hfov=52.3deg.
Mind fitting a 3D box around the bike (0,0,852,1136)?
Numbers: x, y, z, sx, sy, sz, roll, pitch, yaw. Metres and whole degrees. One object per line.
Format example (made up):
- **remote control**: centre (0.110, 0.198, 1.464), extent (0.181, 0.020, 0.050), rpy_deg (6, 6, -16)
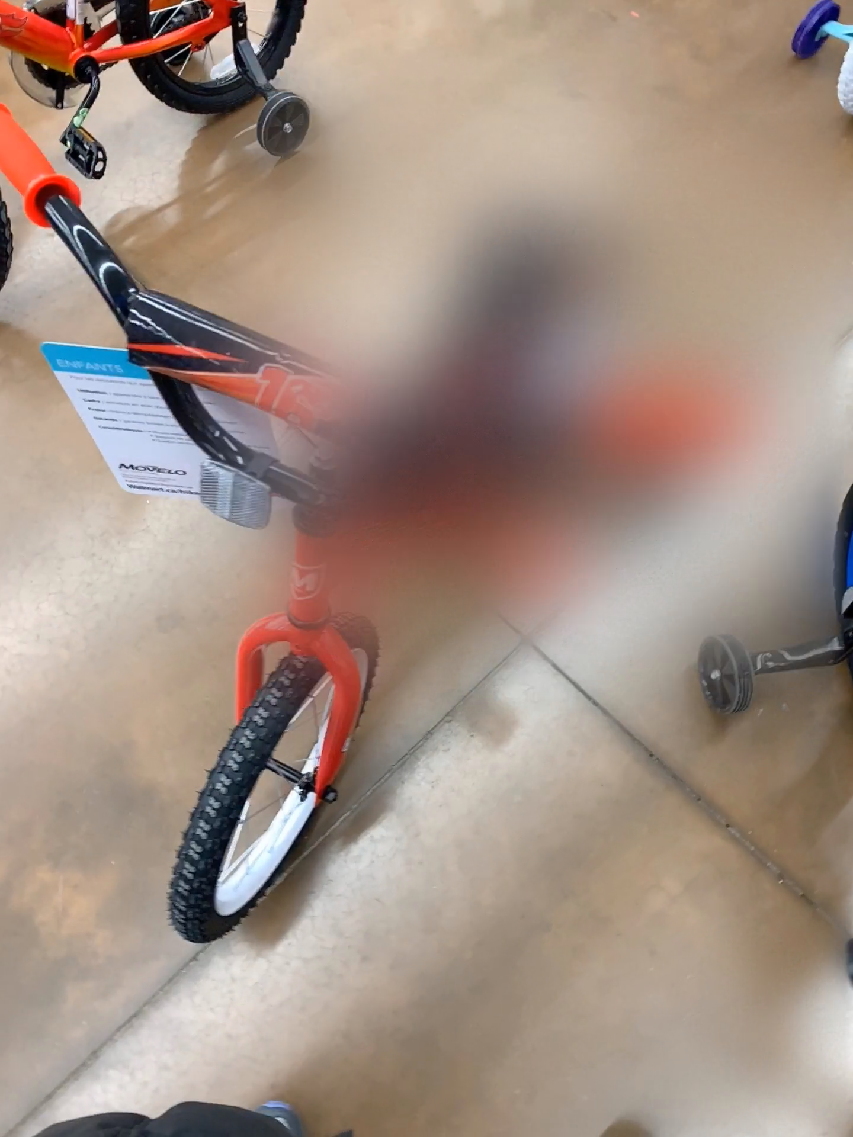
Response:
- **bike**: centre (0.056, -0.121, 0.964), extent (0.515, 0.956, 1.143), rpy_deg (26, 62, 12)
